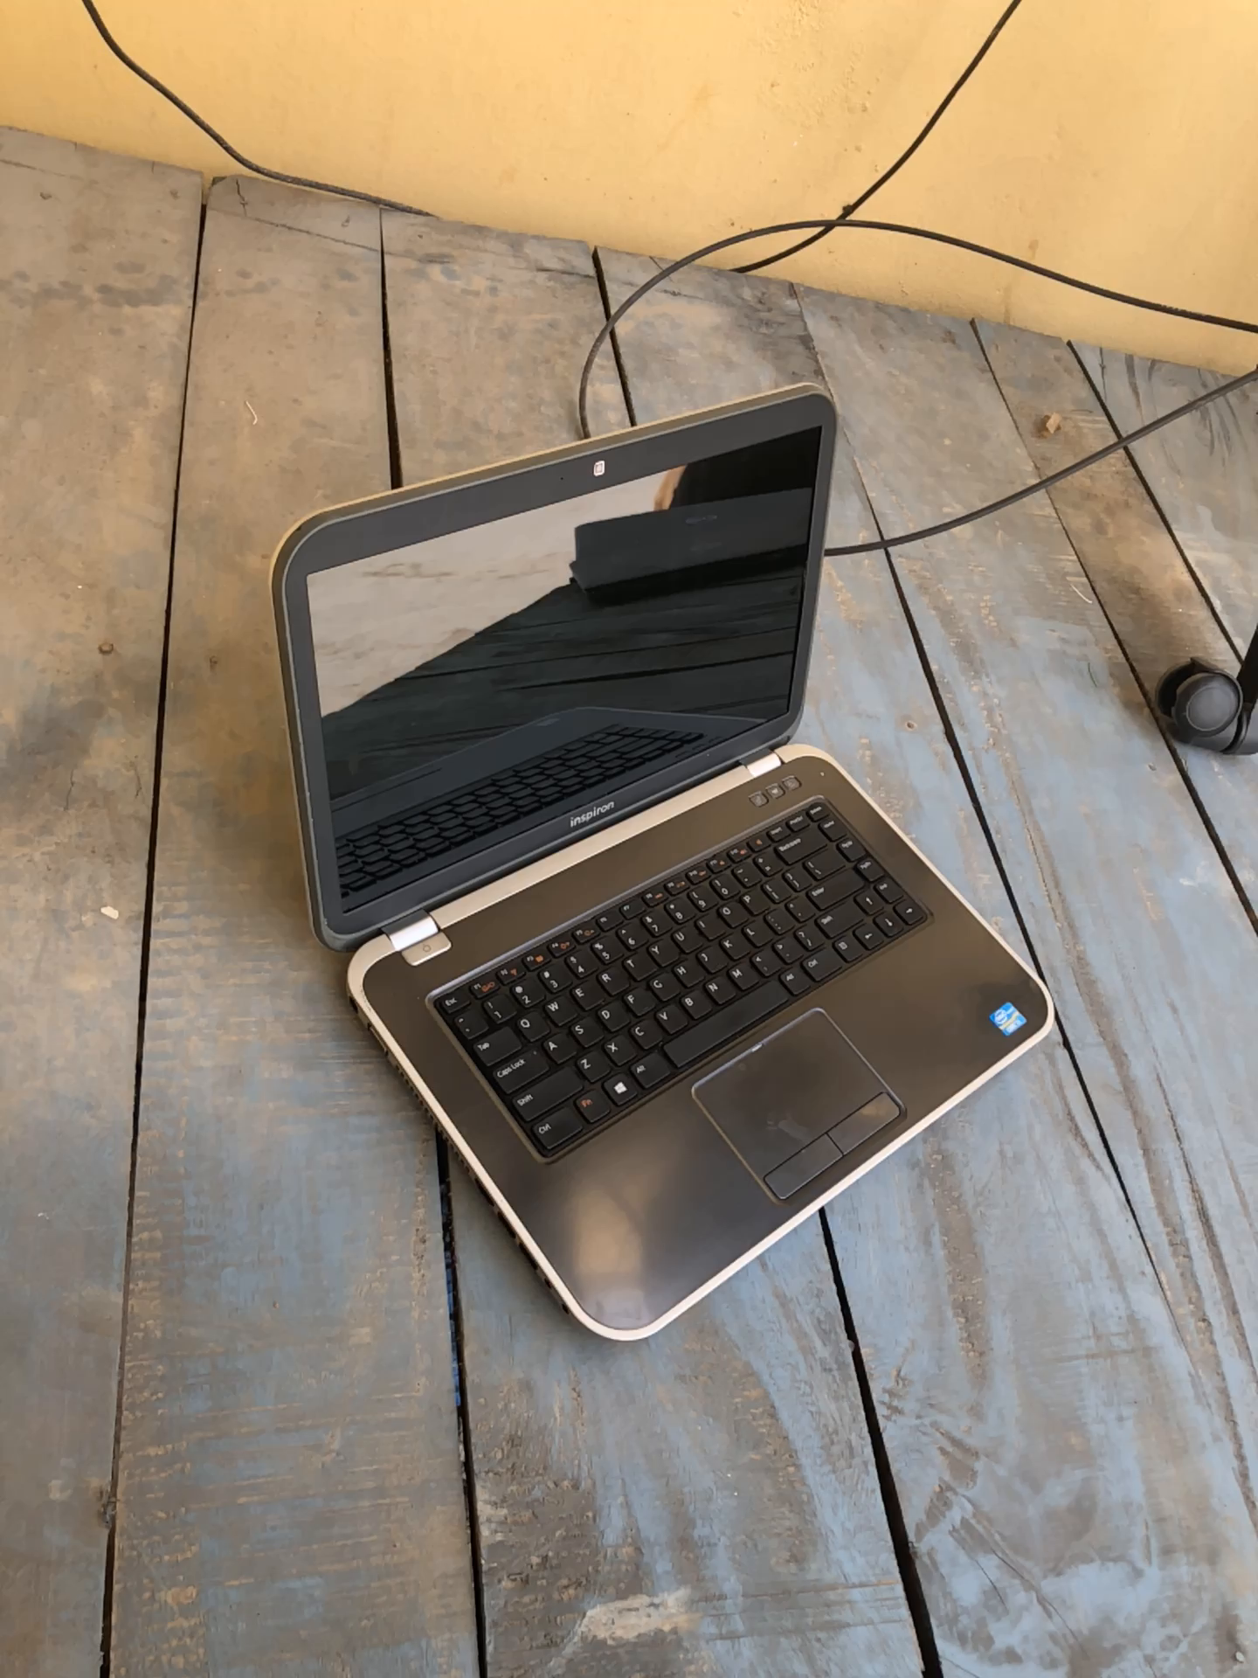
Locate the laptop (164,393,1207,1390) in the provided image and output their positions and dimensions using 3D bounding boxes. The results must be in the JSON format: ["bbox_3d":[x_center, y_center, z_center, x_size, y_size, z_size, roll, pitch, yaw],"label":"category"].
[{"bbox_3d":[0.013,-0.001,0.695,0.353,0.209,0.333,-26,65,-33],"label":"laptop"}]
